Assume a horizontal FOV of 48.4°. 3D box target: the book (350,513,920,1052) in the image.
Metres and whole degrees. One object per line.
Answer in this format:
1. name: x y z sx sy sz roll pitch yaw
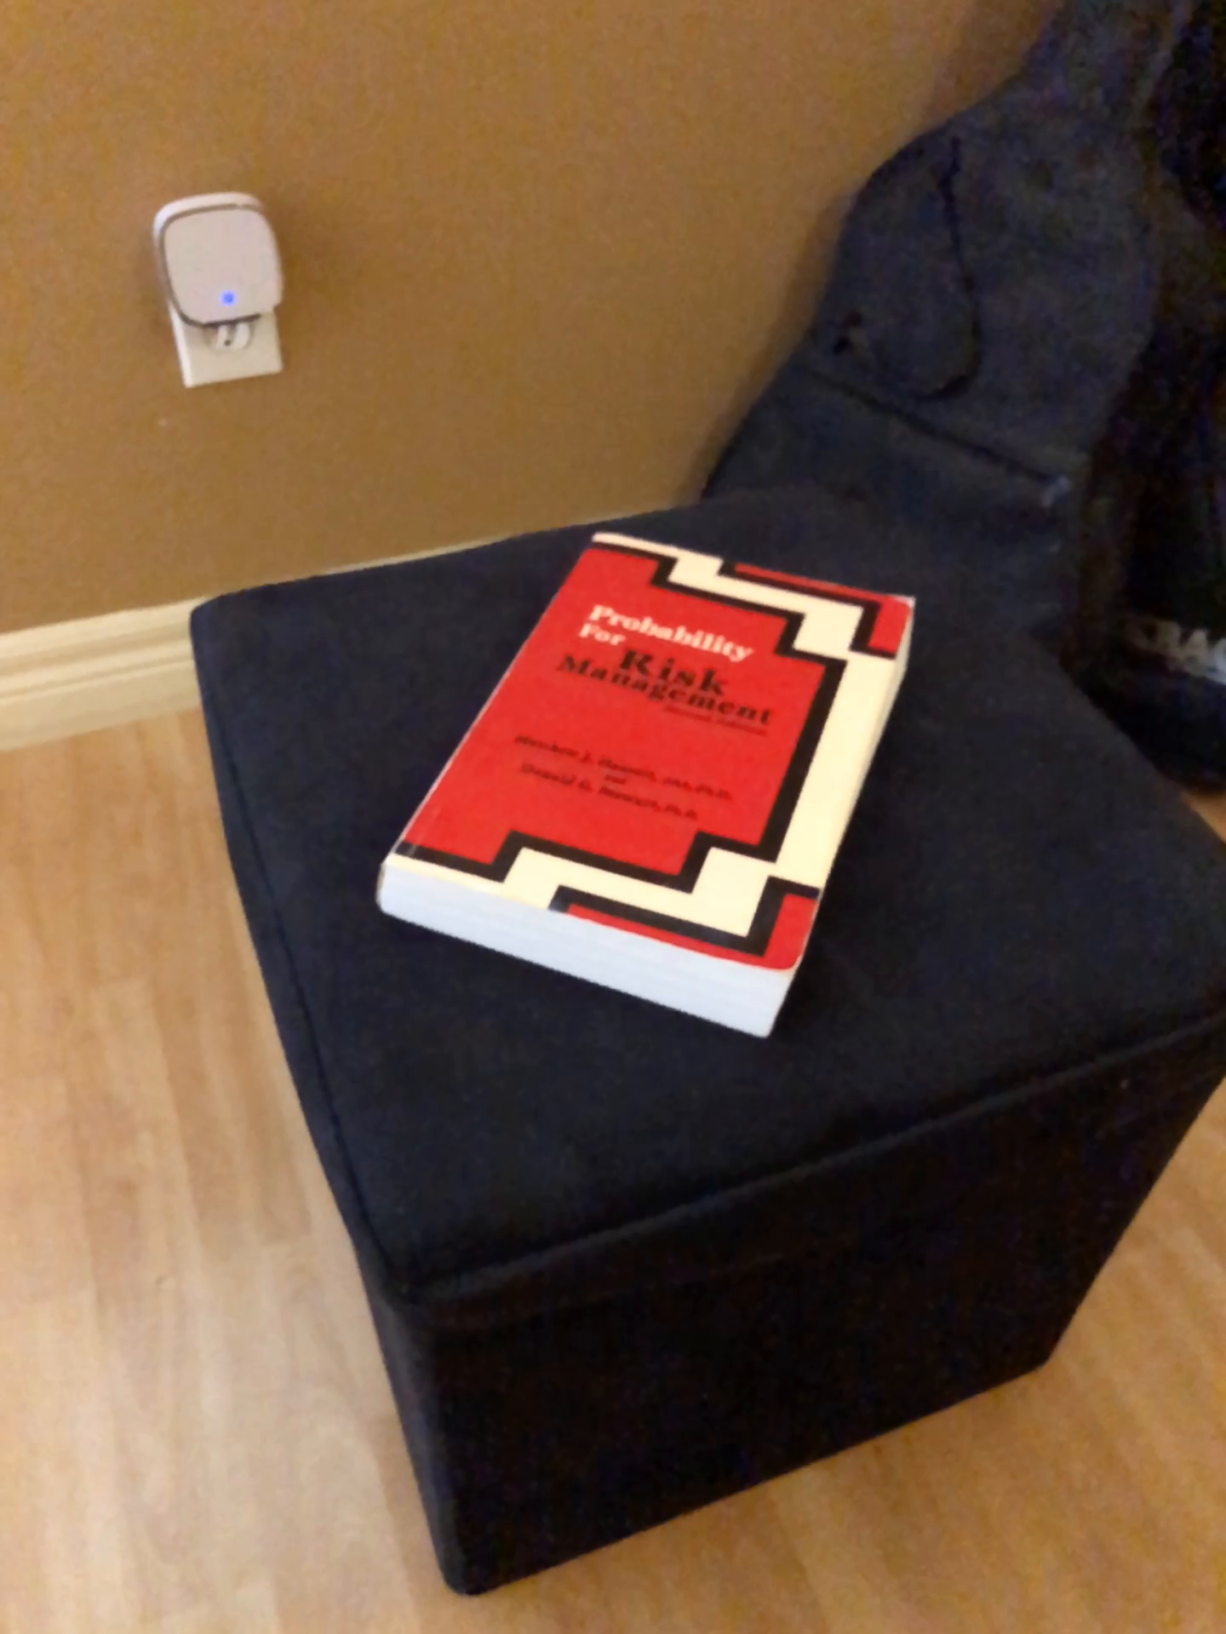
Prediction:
1. book: 0.019 -0.028 0.526 0.150 0.041 0.216 16 46 13
